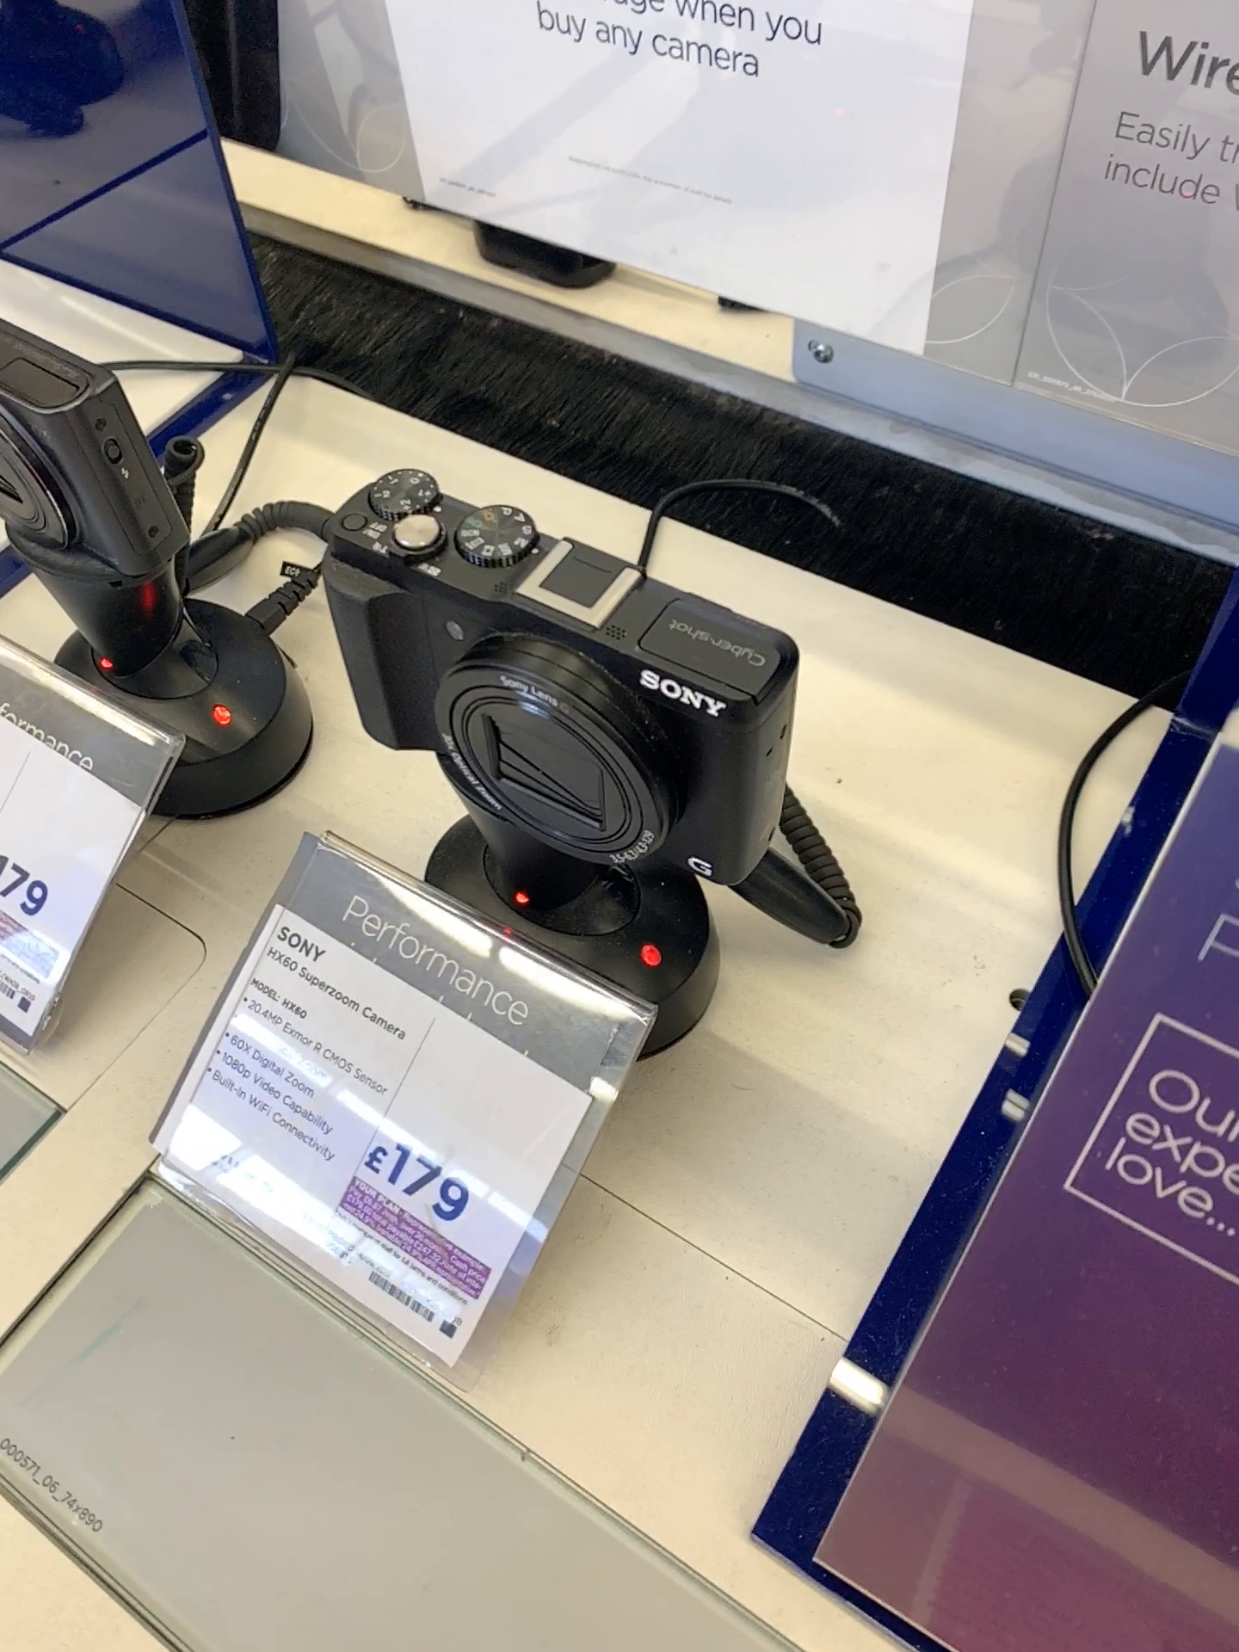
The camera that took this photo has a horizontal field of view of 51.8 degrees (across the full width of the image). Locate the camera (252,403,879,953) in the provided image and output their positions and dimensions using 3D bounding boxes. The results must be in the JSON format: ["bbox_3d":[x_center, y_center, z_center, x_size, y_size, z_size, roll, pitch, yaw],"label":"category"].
[{"bbox_3d":[-0.010,-0.030,0.259,0.110,0.069,0.040,24,59,20],"label":"camera"}]
